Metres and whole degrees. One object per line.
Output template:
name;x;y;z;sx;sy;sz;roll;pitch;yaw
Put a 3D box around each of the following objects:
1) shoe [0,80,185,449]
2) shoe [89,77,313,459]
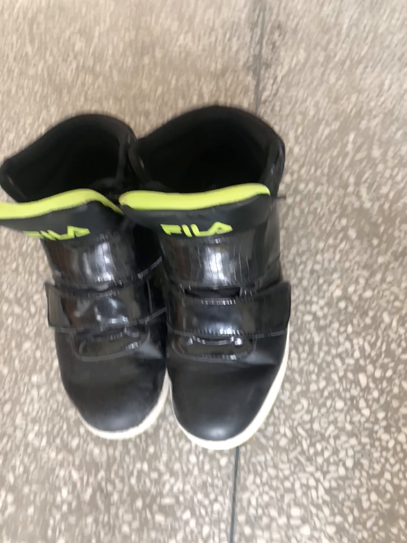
shoe;-0.101;0.003;0.395;0.120;0.148;0.270;-9;68;6
shoe;0.009;0.008;0.353;0.120;0.148;0.250;-3;68;8
